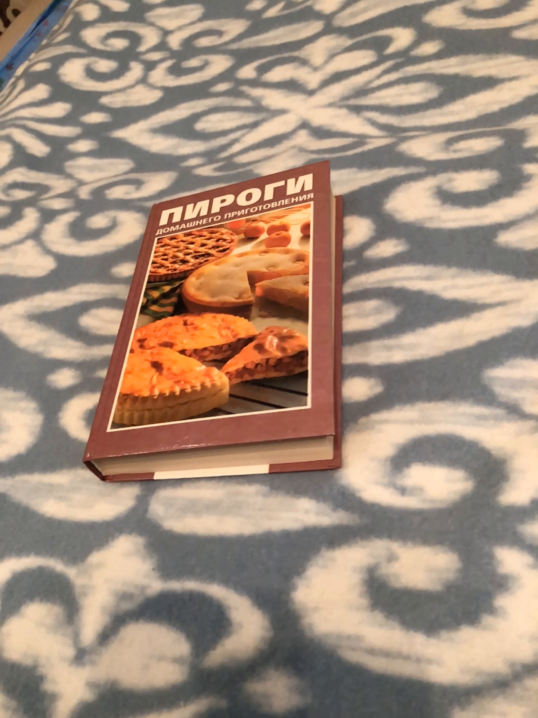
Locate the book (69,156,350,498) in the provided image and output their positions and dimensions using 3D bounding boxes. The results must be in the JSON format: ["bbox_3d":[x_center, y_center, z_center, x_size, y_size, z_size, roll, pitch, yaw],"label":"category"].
[{"bbox_3d":[-0.024,-0.026,0.347,0.131,0.040,0.201,-8,51,16],"label":"book"}]
